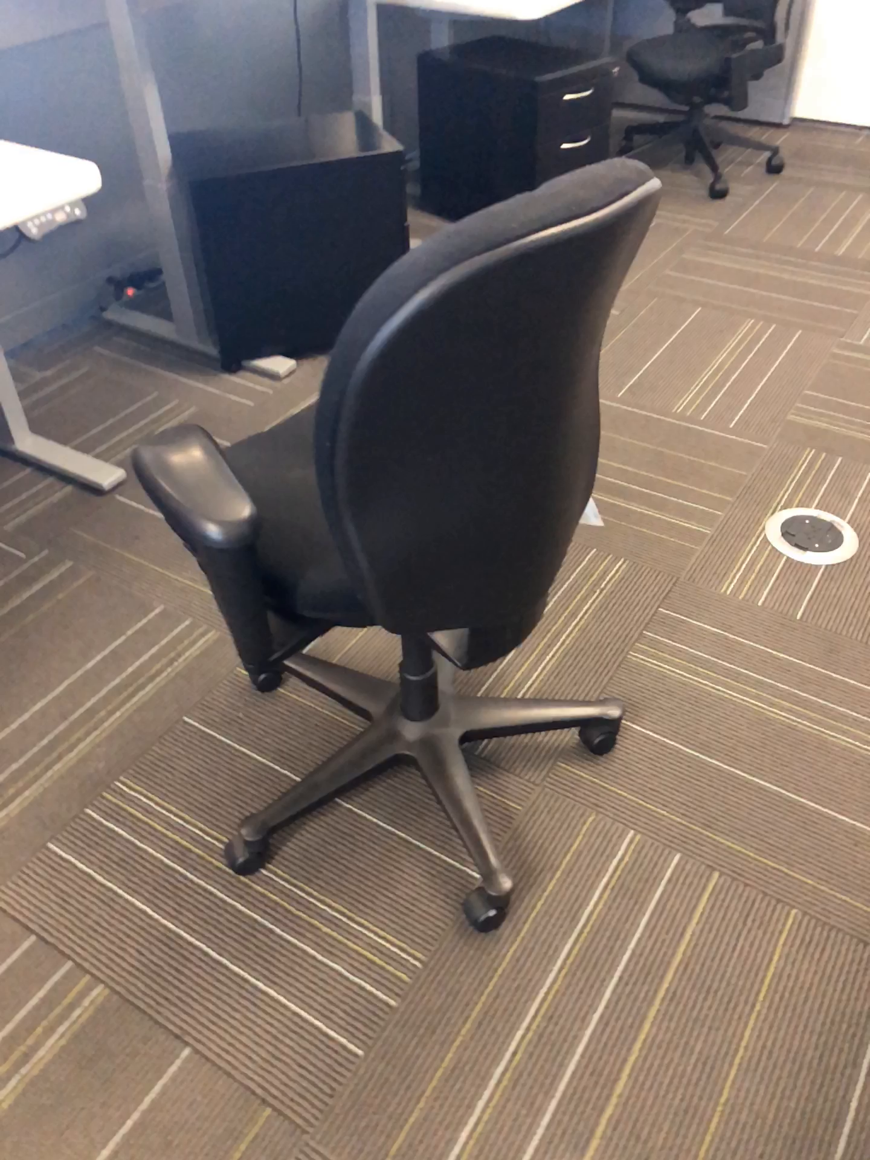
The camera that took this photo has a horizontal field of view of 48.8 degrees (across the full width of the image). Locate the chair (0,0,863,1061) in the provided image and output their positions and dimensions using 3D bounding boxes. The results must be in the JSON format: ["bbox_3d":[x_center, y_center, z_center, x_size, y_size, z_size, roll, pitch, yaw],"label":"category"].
[{"bbox_3d":[-0.086,-0.110,1.221,0.701,0.995,0.683,-30,47,-29],"label":"chair"}]
